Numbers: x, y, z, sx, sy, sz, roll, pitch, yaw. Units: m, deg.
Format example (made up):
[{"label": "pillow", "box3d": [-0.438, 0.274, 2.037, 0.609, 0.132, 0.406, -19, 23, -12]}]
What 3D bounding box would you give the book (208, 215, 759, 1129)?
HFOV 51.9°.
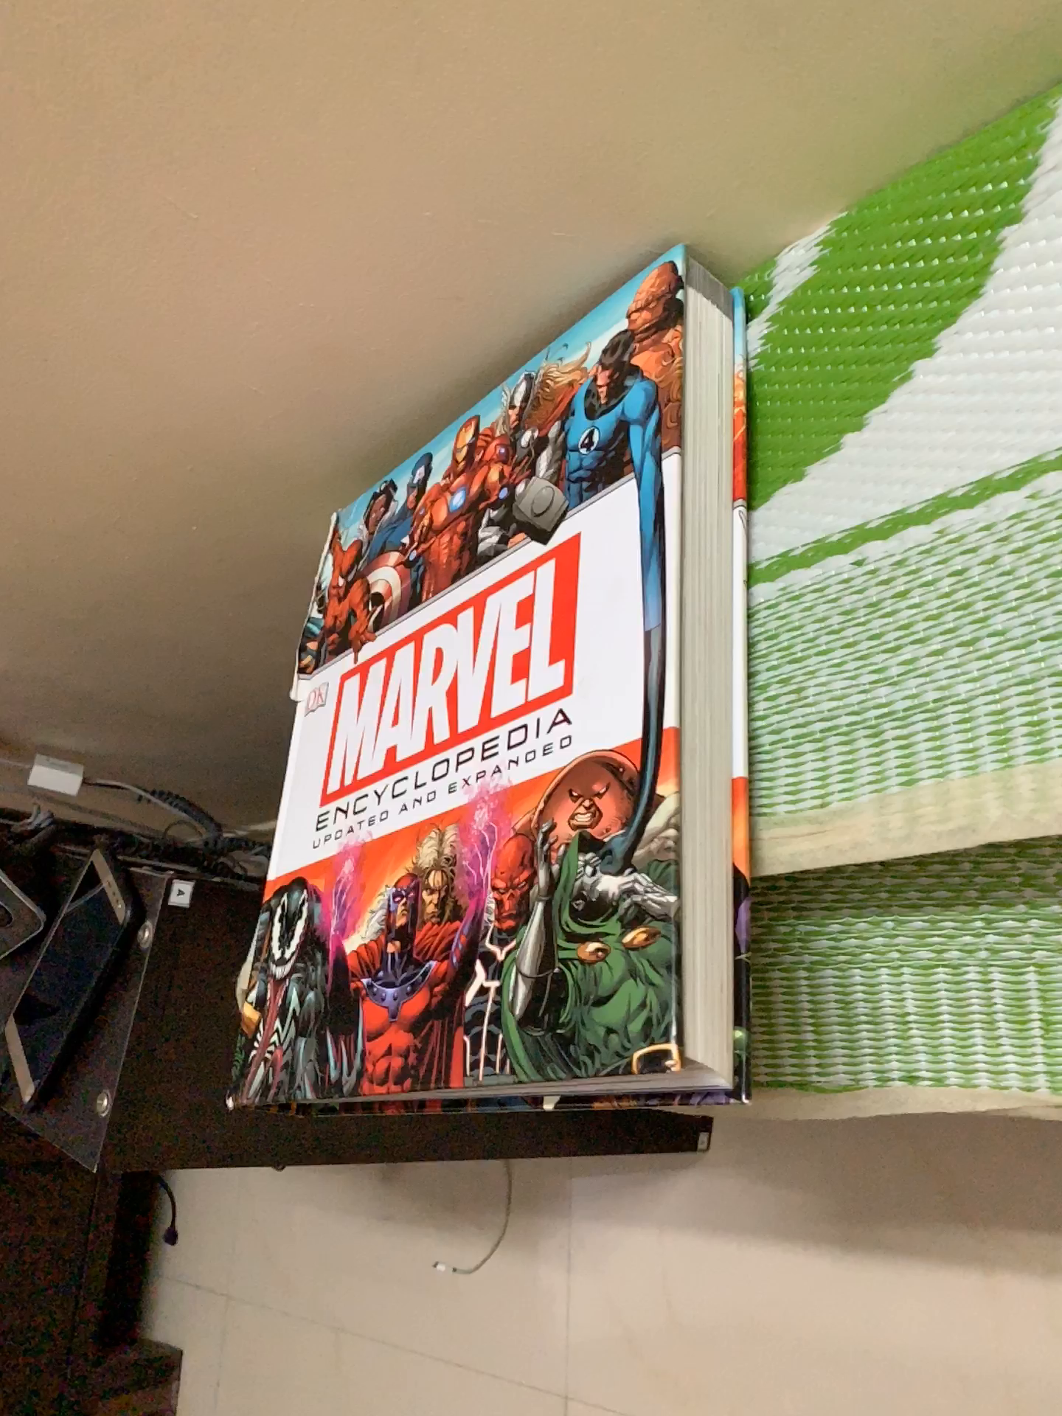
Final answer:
[{"label": "book", "box3d": [-0.026, 0.000, 0.450, 0.261, 0.040, 0.321, -24, 53, 45]}]
